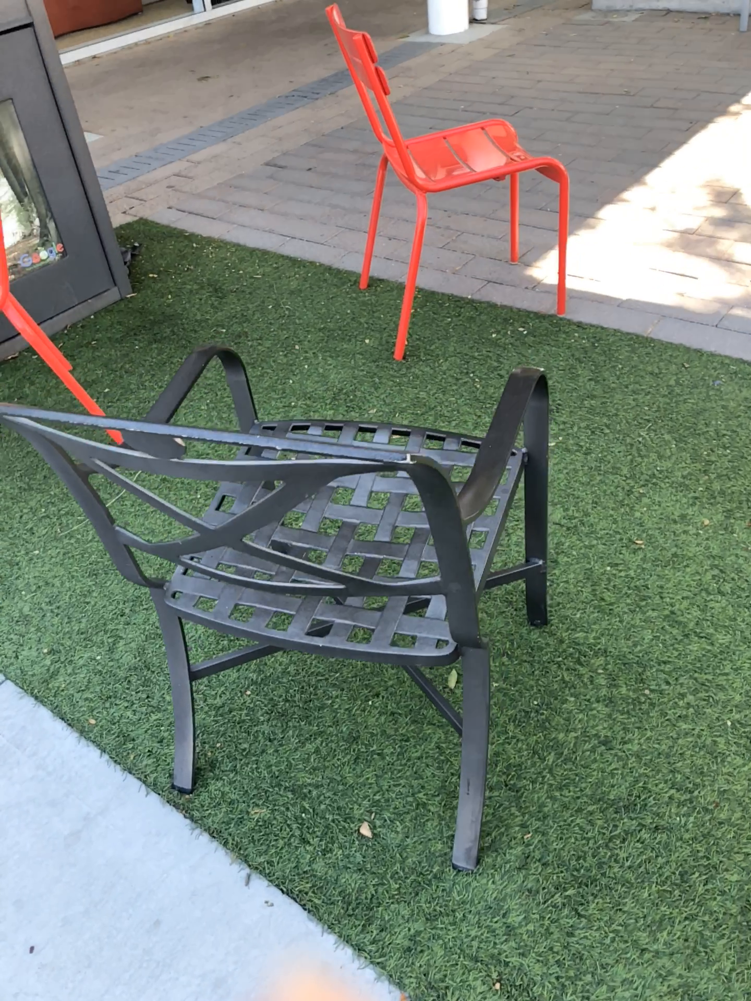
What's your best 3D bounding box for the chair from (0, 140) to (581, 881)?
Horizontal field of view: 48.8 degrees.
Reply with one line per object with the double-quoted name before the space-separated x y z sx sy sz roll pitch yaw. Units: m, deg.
"chair" -0.083 -0.008 1.242 0.641 0.805 0.643 8 44 18
